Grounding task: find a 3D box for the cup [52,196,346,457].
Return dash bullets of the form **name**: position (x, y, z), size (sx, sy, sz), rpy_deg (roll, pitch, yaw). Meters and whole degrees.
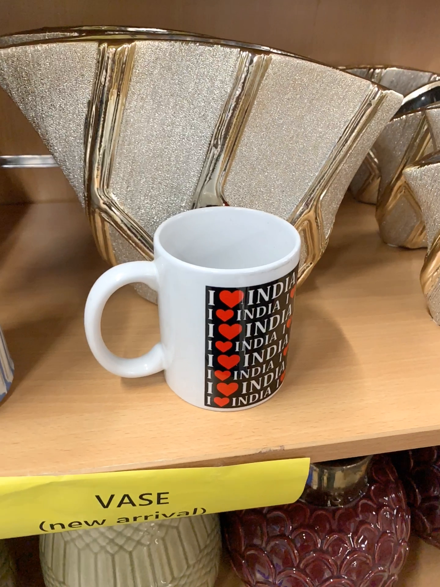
- **cup**: position (-0.017, 0.009, 0.259), size (0.130, 0.090, 0.090), rpy_deg (-11, 33, -18)
